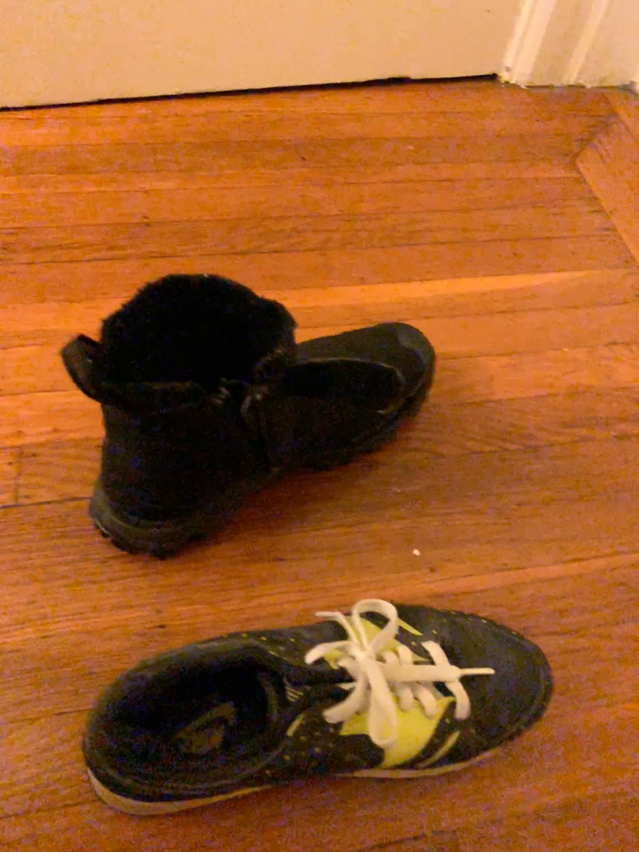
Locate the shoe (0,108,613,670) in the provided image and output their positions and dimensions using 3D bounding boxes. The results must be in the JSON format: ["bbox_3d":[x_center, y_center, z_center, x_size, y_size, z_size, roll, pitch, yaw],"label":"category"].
[{"bbox_3d":[-0.018,-0.020,0.443,0.310,0.239,0.160,-28,64,-21],"label":"shoe"}]

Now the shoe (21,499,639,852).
[{"bbox_3d":[0.006,0.143,0.357,0.290,0.100,0.120,-10,59,-12],"label":"shoe"}]
